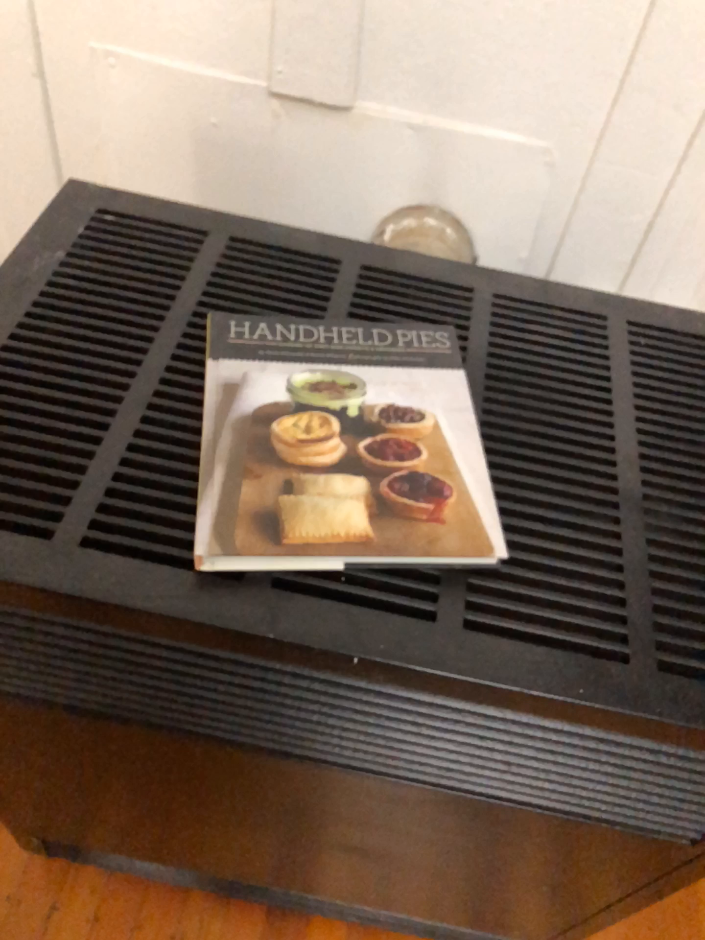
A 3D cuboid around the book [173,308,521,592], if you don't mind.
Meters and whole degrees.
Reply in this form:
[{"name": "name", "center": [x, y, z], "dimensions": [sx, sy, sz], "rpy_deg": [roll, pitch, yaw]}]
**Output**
[{"name": "book", "center": [-0.010, -0.024, 0.527], "dimensions": [0.200, 0.020, 0.231], "rpy_deg": [1, 50, -8]}]
